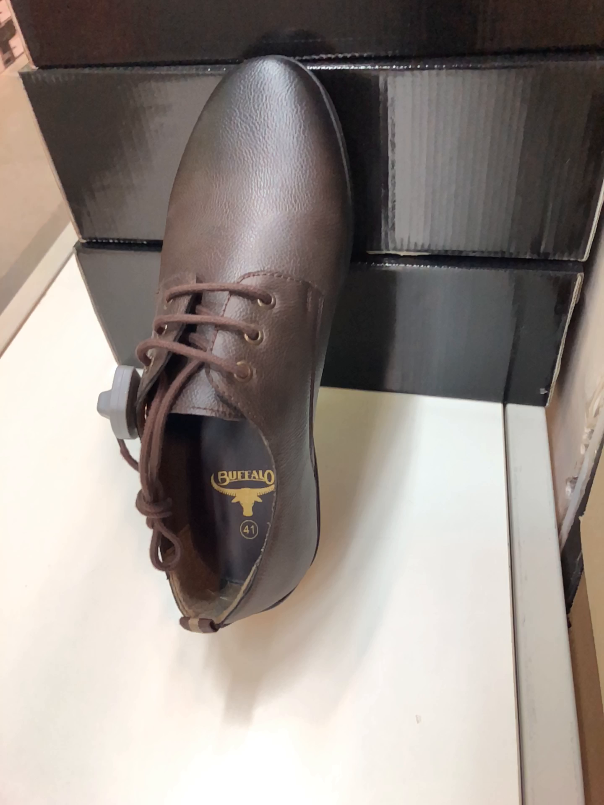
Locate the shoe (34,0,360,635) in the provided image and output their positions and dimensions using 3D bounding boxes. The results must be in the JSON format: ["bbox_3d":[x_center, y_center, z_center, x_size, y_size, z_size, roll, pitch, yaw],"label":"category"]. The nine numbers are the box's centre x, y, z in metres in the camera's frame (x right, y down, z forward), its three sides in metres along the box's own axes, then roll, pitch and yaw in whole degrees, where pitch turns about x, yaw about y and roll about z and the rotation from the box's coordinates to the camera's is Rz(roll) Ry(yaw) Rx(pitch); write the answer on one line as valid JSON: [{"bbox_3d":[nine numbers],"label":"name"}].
[{"bbox_3d":[-0.043,-0.051,0.325,0.111,0.271,0.116,3,3,18],"label":"shoe"}]
